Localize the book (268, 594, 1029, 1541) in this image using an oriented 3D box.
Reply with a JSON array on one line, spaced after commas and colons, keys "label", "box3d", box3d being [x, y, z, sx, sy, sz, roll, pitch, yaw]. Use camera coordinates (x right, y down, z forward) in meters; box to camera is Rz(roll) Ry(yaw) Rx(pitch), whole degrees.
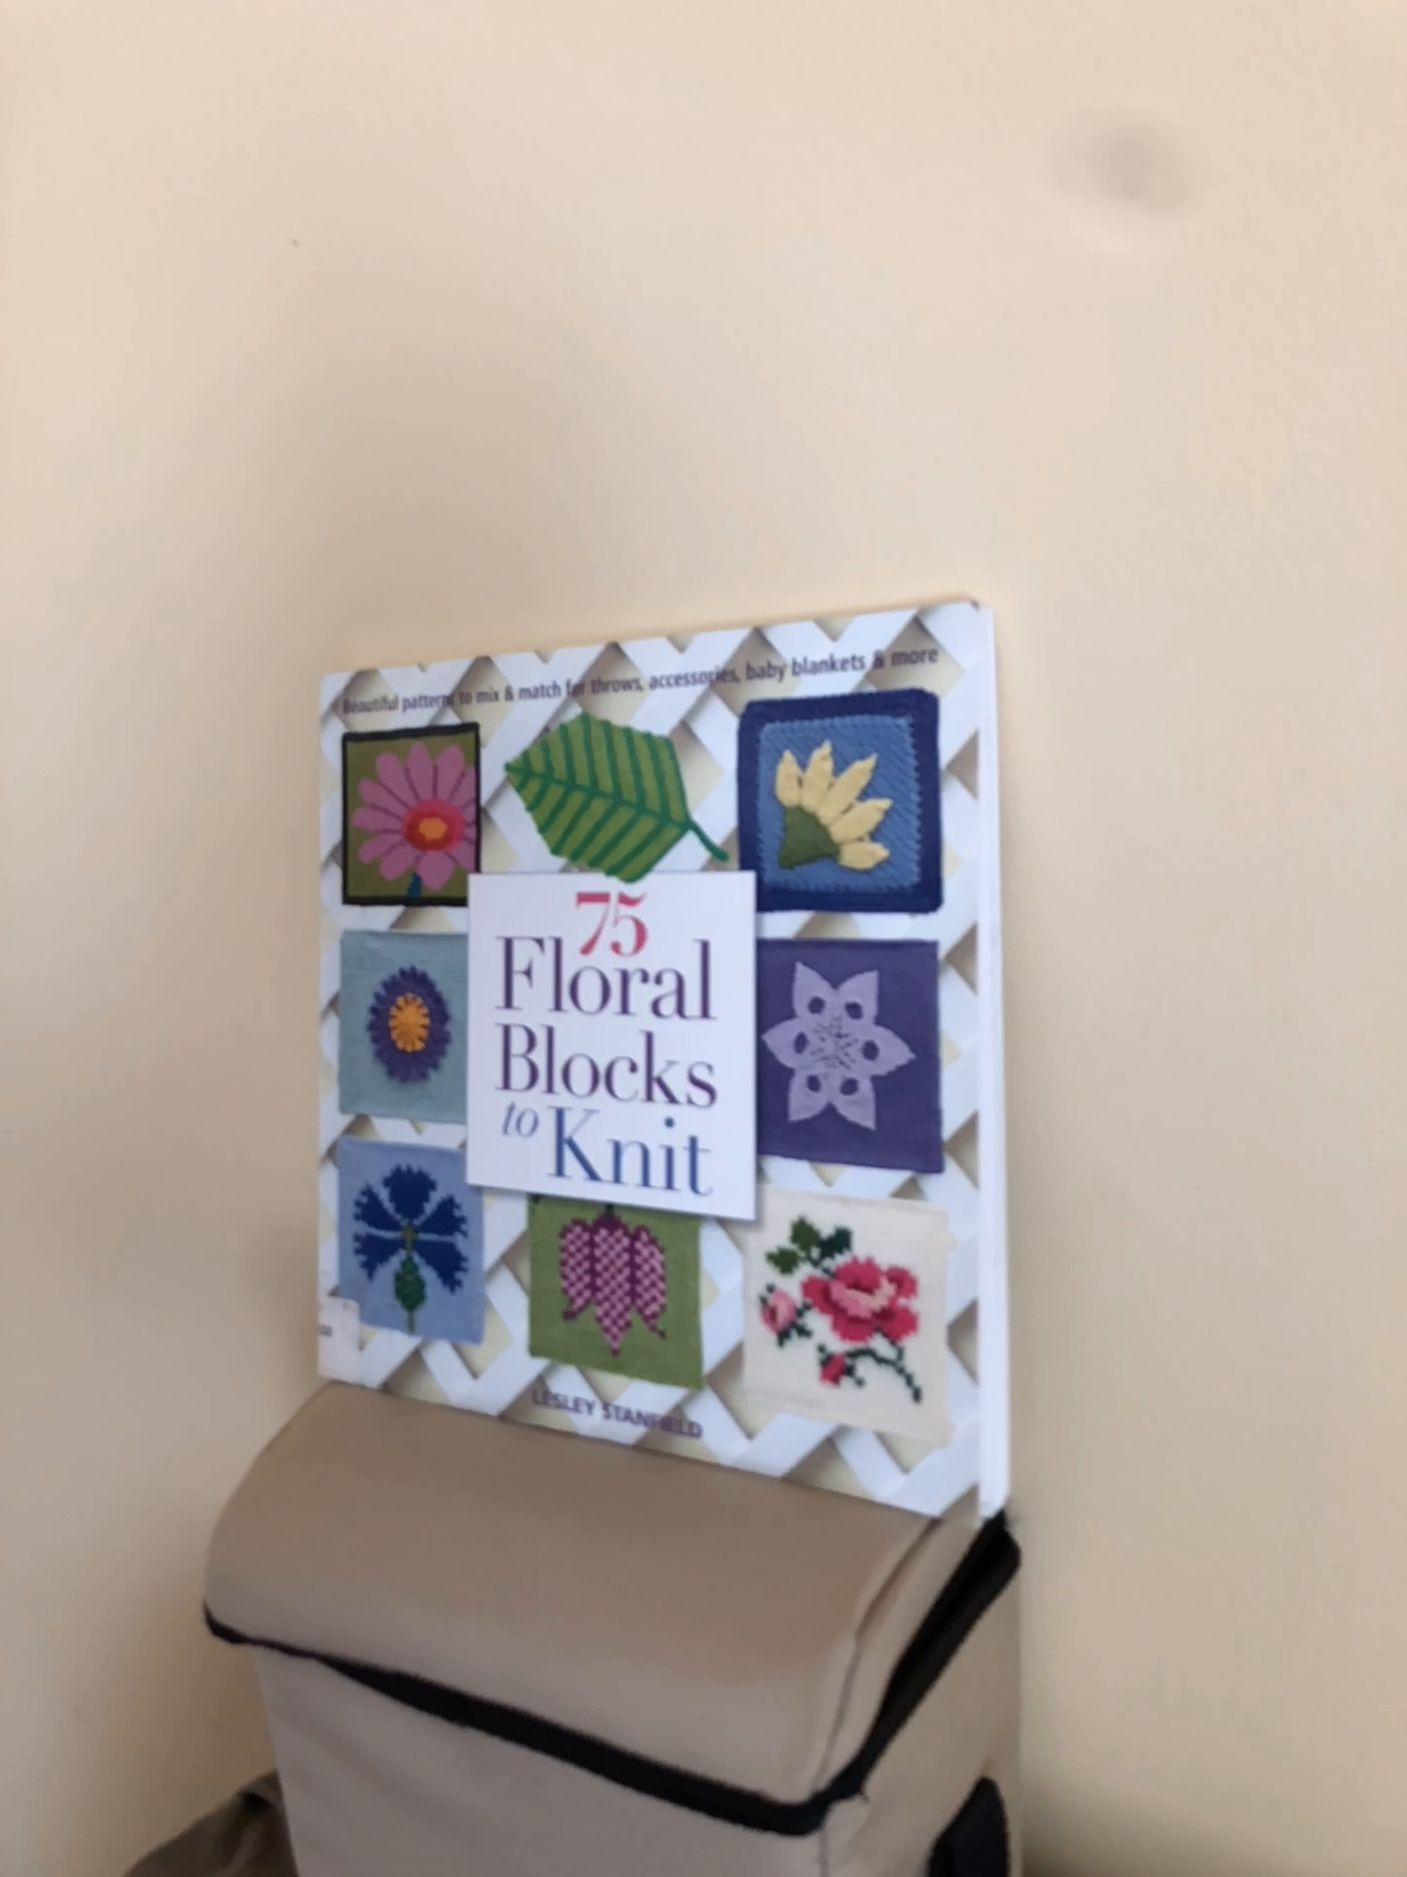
[{"label": "book", "box3d": [-0.026, 0.025, 0.415, 0.218, 0.215, 0.020, 3, 0, 30]}]
